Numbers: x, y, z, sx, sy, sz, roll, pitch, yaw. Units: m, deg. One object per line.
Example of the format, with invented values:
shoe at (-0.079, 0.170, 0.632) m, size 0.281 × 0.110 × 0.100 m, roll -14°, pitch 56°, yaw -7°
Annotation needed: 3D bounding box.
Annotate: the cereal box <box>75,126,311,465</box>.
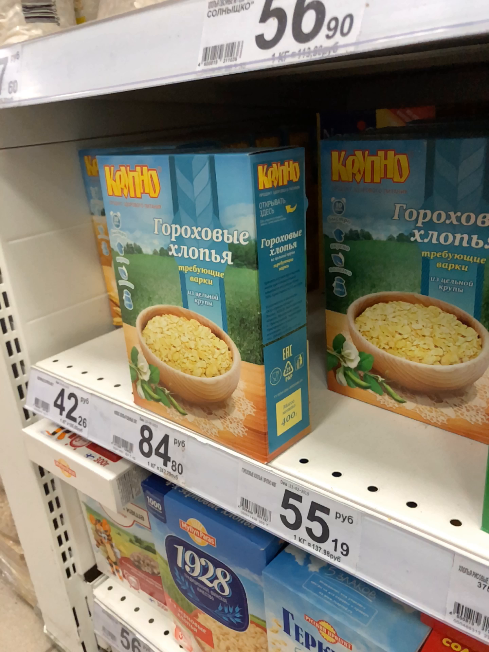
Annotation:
cereal box at (-0.036, -0.029, 0.377) m, size 0.160 × 0.199 × 0.050 m, roll 14°, pitch 27°, yaw 40°
